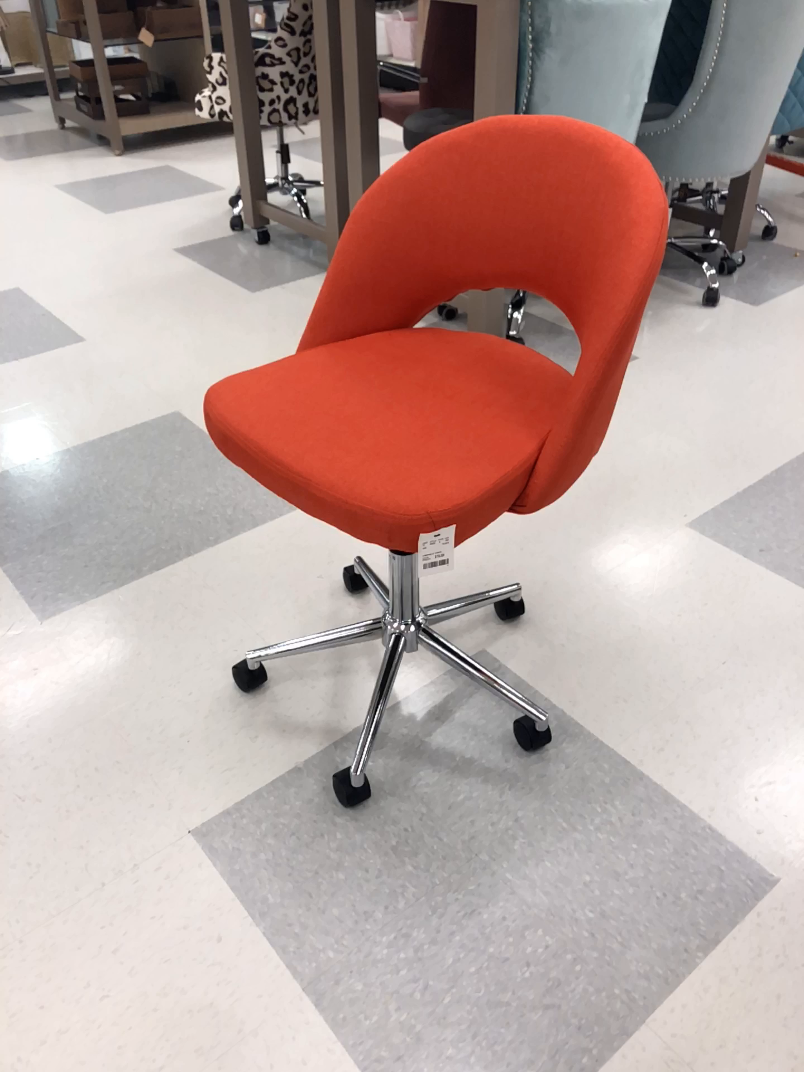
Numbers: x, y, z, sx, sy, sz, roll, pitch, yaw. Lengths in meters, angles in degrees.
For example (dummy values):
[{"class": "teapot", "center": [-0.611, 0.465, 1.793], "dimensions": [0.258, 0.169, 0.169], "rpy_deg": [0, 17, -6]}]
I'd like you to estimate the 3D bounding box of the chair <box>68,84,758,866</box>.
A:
[{"class": "chair", "center": [0.012, -0.138, 1.335], "dimensions": [0.608, 0.858, 0.601], "rpy_deg": [-28, 43, -32]}]
